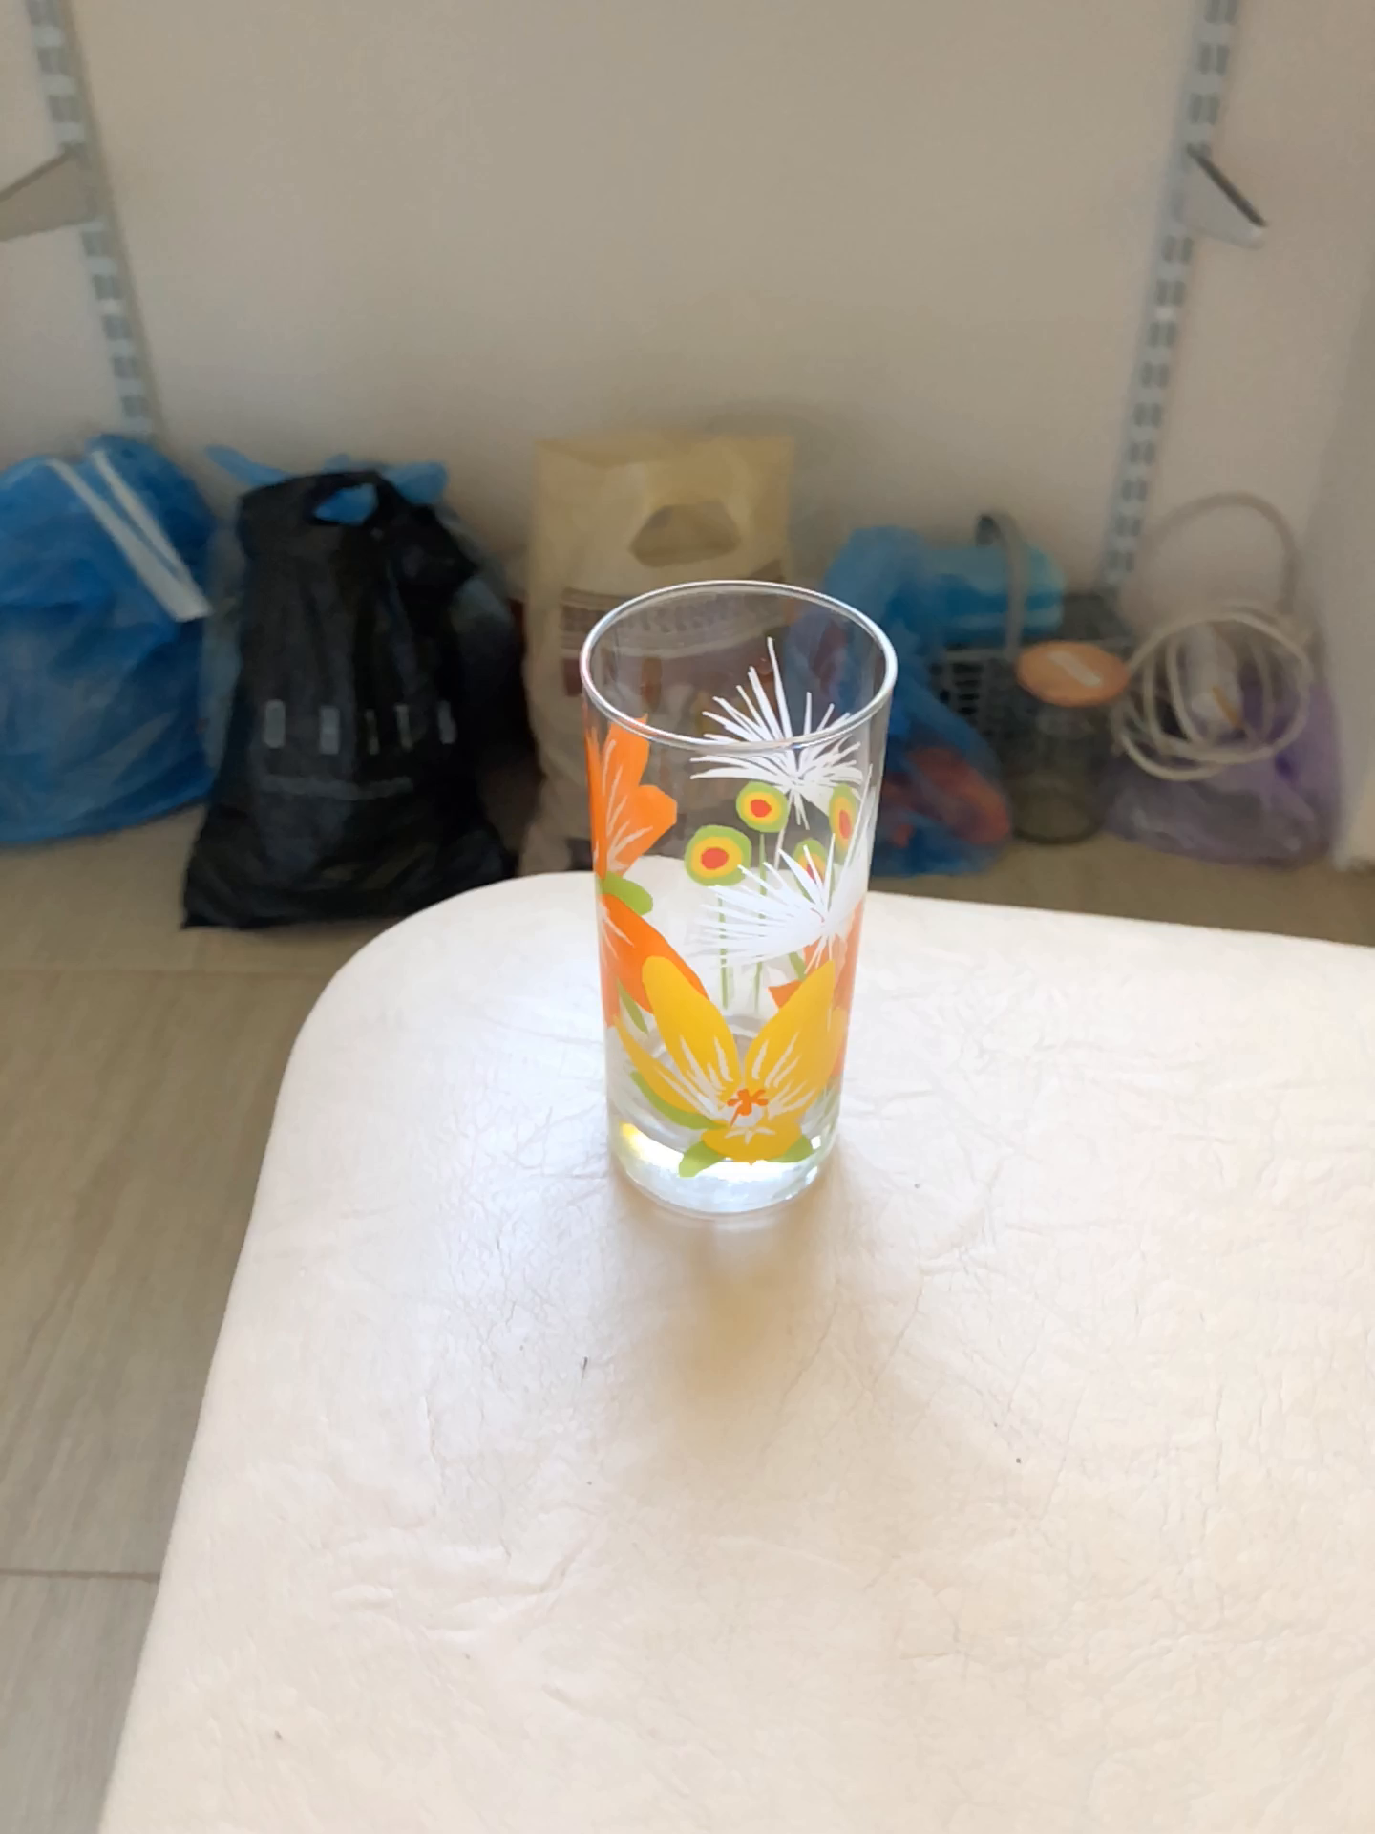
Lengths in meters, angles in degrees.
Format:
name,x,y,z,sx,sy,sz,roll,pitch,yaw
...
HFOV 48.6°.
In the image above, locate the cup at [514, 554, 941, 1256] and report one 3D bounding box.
name,x,y,z,sx,sy,sz,roll,pitch,yaw
cup,0.007,0.000,0.337,0.063,0.133,0.061,0,39,0
